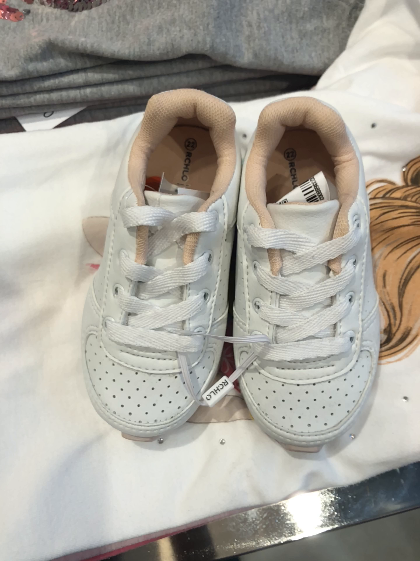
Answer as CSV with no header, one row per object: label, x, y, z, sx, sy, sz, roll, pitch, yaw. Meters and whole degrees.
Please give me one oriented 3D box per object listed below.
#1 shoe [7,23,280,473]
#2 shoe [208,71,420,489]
shoe,-0.025,-0.011,0.207,0.080,0.060,0.160,8,85,-6
shoe,0.045,-0.001,0.216,0.080,0.060,0.160,-1,86,-8
